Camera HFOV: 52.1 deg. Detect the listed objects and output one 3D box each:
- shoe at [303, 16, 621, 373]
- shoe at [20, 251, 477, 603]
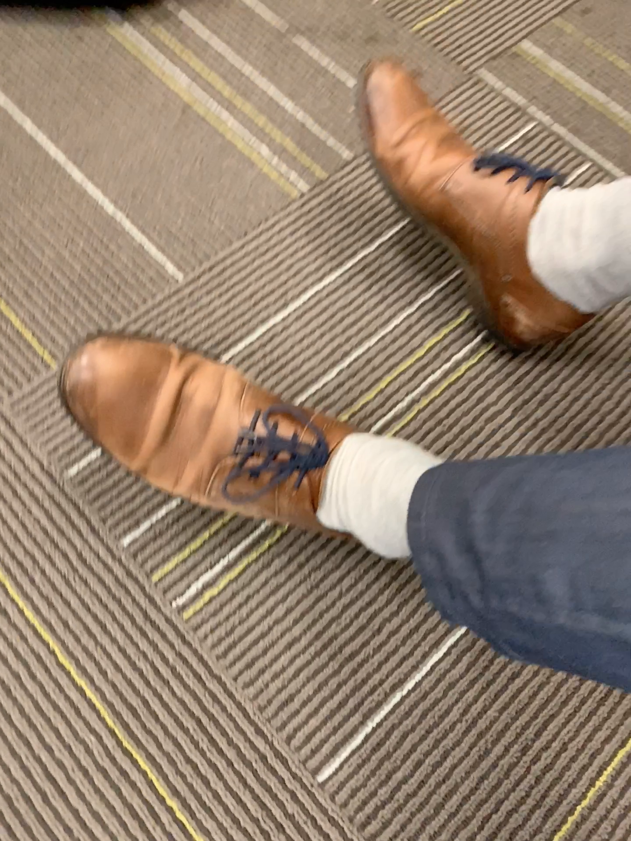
[{"bbox_3d":[0.128,-0.190,0.548,0.281,0.074,0.103,51,52,-4],"label":"shoe"},{"bbox_3d":[-0.040,0.012,0.455,0.271,0.084,0.121,27,80,-14],"label":"shoe"}]
